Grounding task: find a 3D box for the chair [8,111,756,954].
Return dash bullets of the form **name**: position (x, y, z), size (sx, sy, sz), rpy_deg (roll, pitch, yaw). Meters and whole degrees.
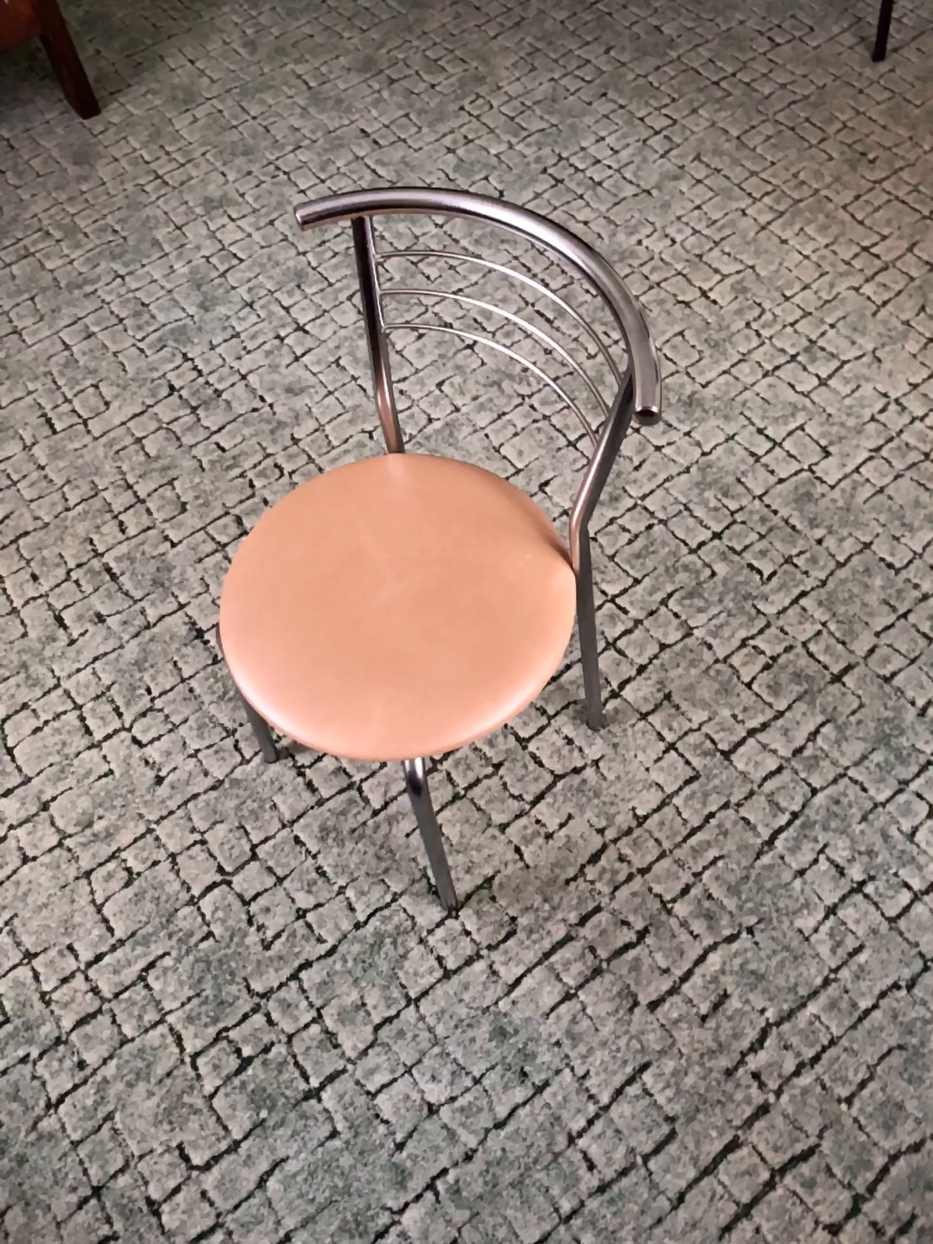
- **chair**: position (-0.047, -0.034, 1.201), size (0.444, 0.804, 0.451), rpy_deg (35, 67, 22)
